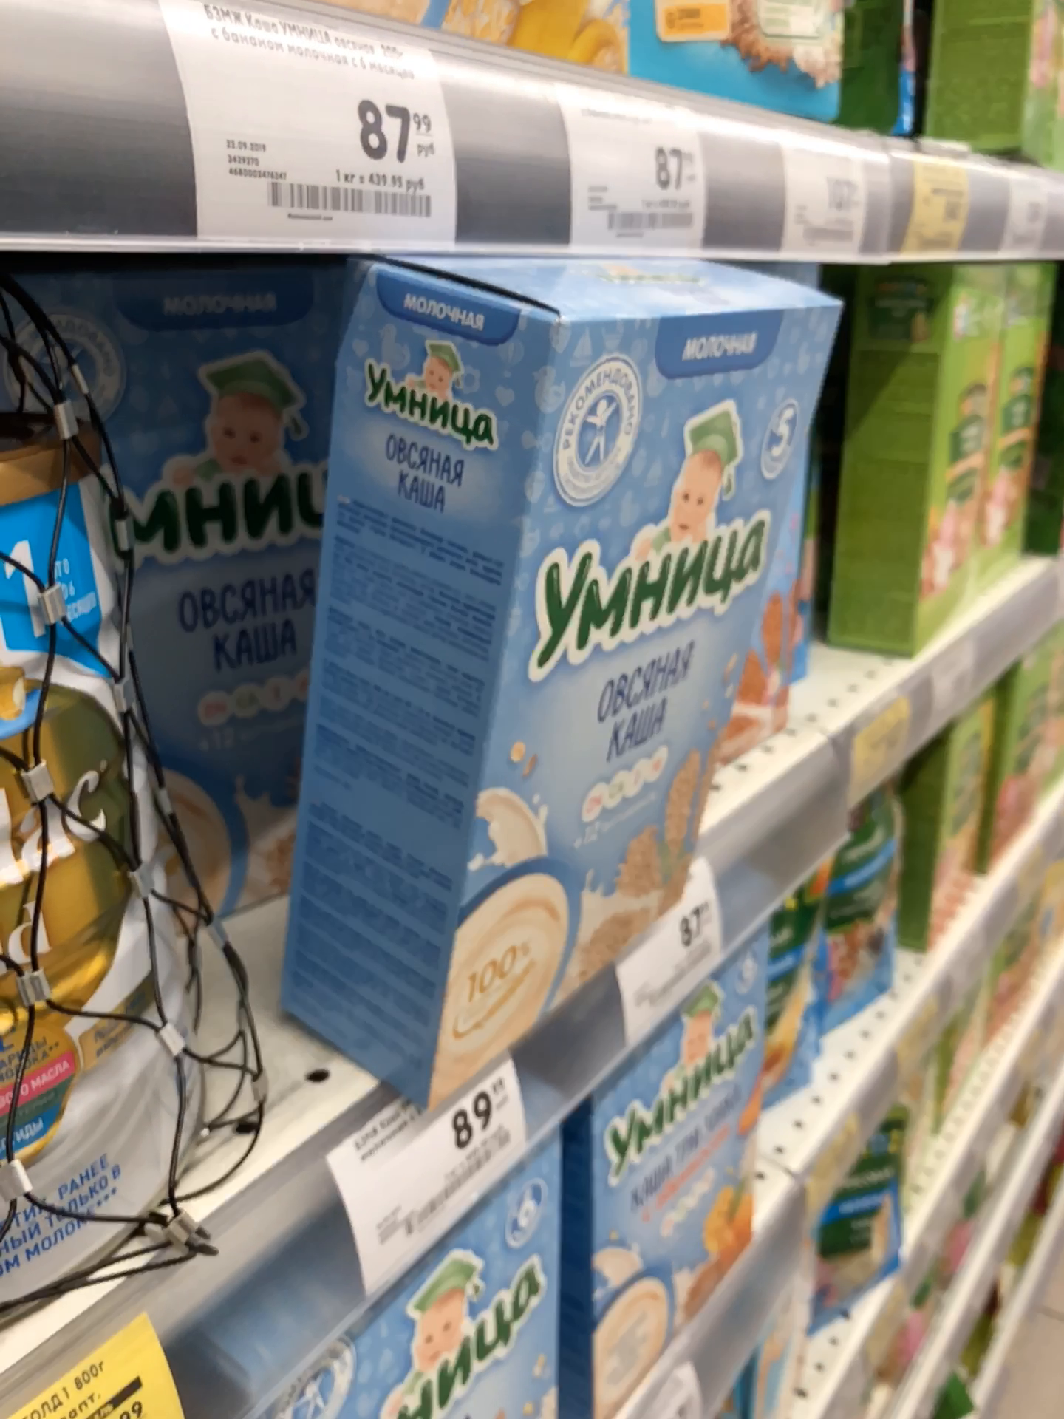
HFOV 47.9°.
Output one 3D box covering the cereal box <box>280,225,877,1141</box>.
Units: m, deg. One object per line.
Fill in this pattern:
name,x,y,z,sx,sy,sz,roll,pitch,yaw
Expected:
cereal box,0.012,-0.013,0.329,0.060,0.209,0.140,25,29,29
